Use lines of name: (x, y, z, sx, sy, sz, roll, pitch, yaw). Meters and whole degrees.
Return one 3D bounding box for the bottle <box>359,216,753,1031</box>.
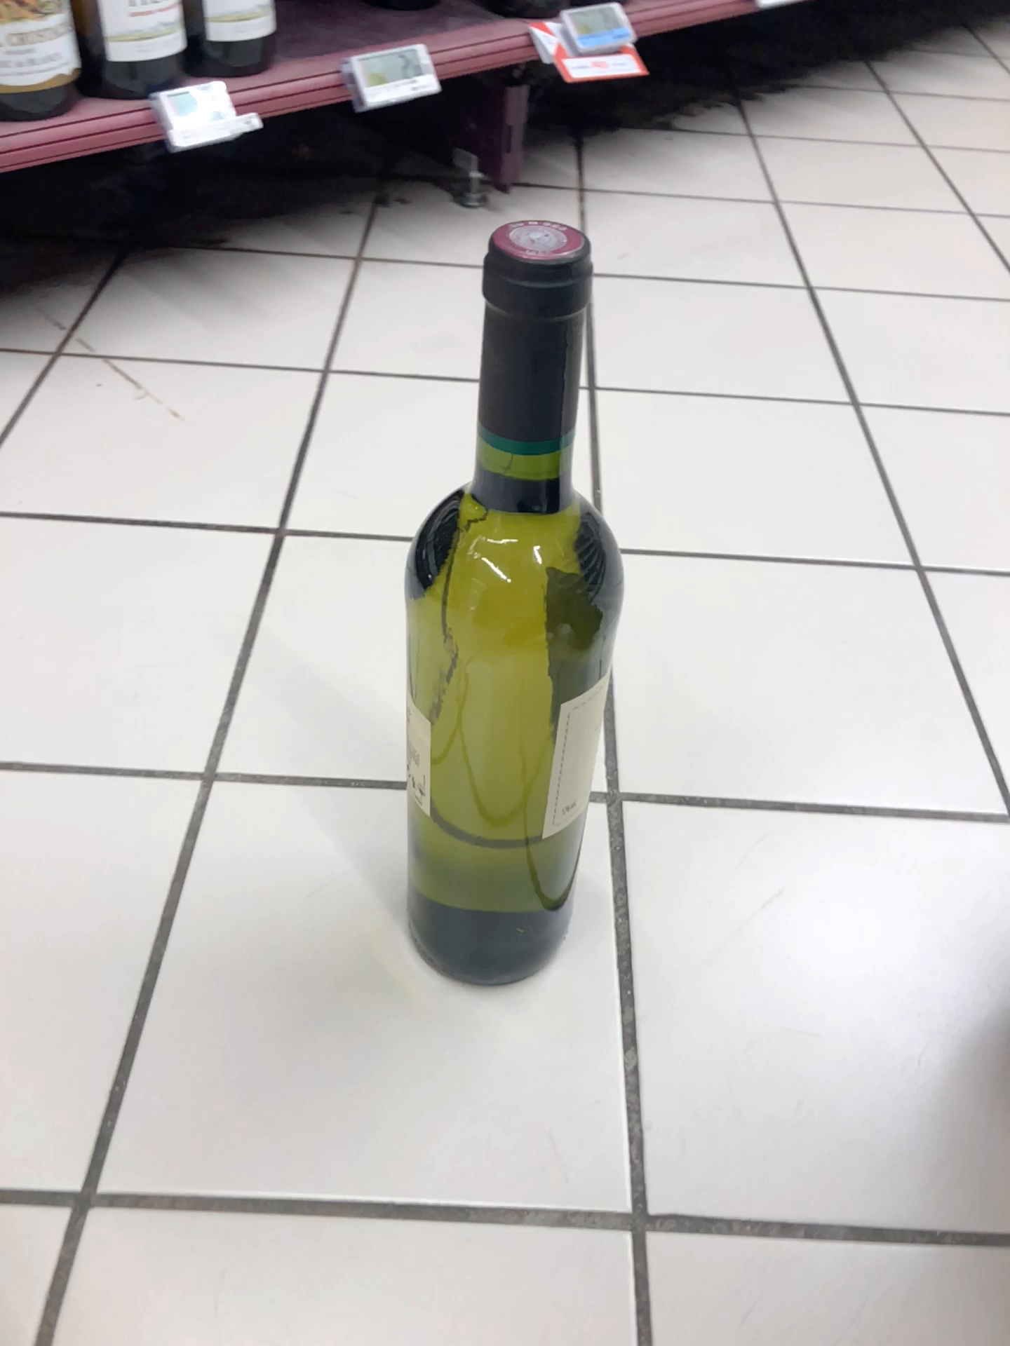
bottle: (0.000, 0.006, 0.383, 0.090, 0.288, 0.091, 2, 43, -2)
